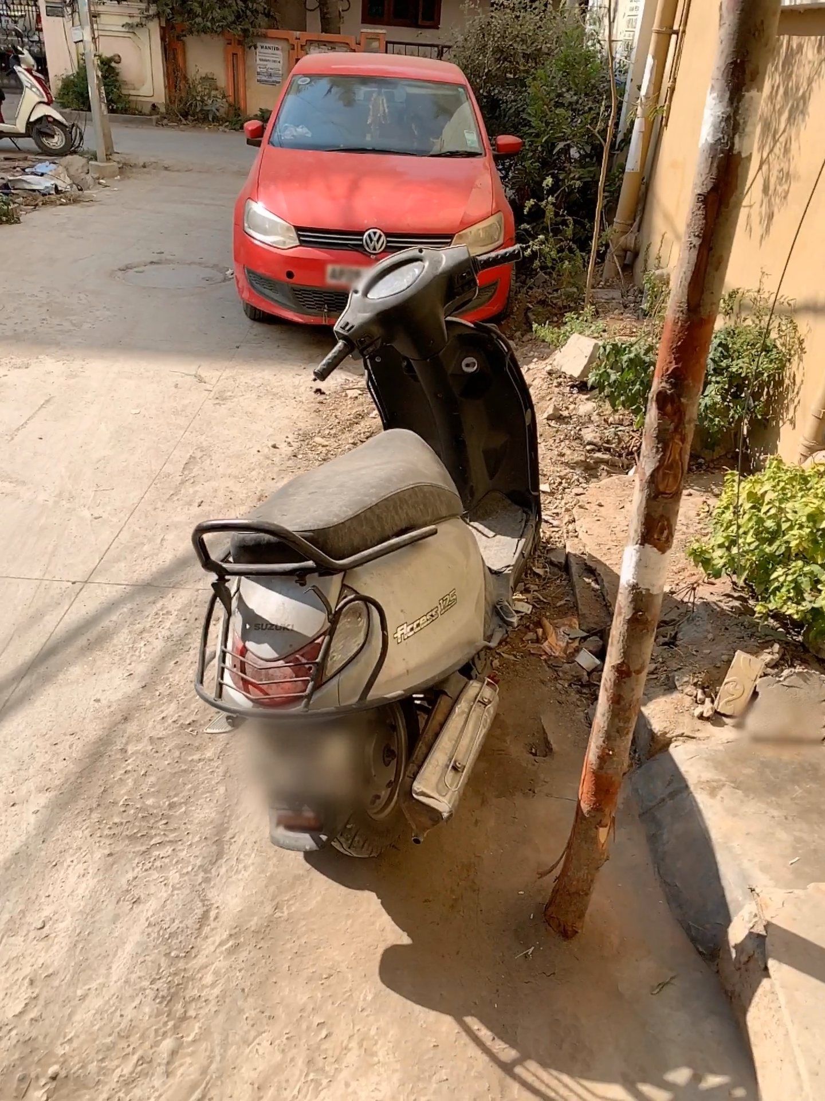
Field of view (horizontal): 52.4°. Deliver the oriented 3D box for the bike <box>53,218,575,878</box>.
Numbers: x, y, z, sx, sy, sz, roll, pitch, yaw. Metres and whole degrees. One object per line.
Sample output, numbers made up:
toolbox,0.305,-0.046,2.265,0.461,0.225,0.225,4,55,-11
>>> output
bike,-0.069,-0.176,2.102,0.549,1.000,1.515,12,31,14
